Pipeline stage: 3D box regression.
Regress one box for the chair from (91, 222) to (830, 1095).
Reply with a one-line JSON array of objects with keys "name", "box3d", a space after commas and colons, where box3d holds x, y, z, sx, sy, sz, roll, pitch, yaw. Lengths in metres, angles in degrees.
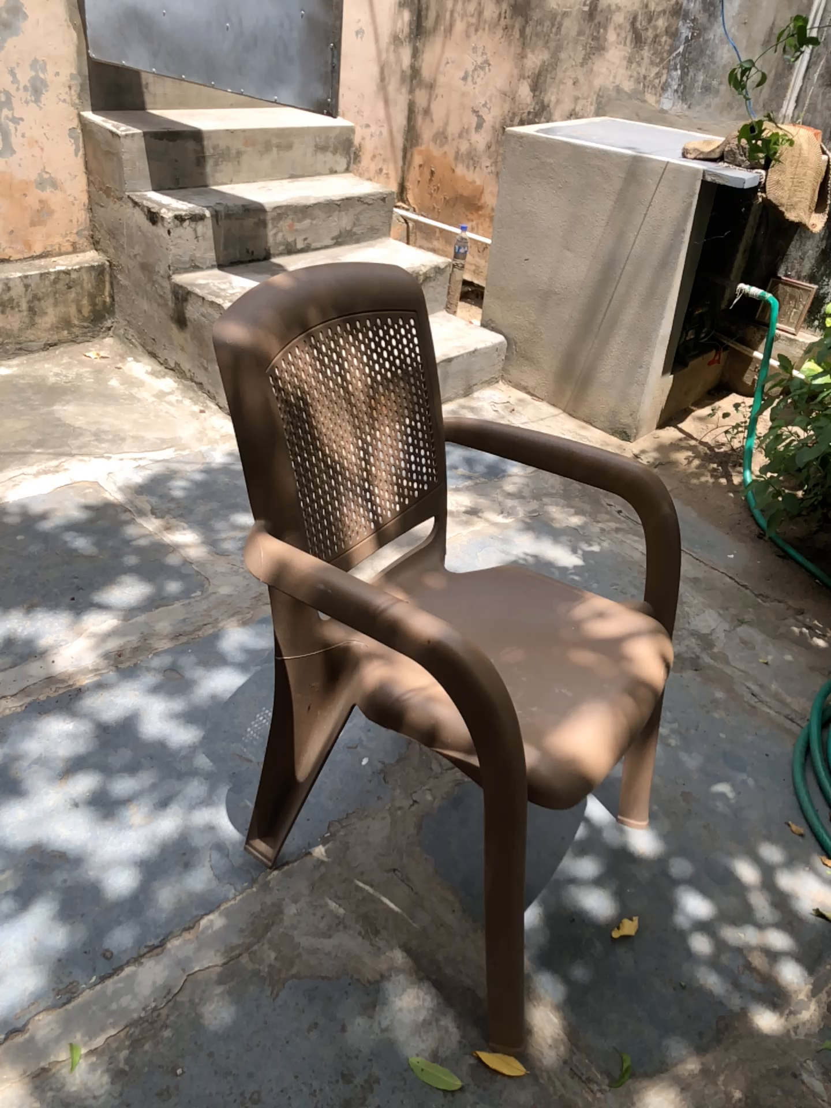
[{"name": "chair", "box3d": [0.065, 0.078, 1.291, 0.680, 0.825, 0.634, 25, 37, 25]}]
